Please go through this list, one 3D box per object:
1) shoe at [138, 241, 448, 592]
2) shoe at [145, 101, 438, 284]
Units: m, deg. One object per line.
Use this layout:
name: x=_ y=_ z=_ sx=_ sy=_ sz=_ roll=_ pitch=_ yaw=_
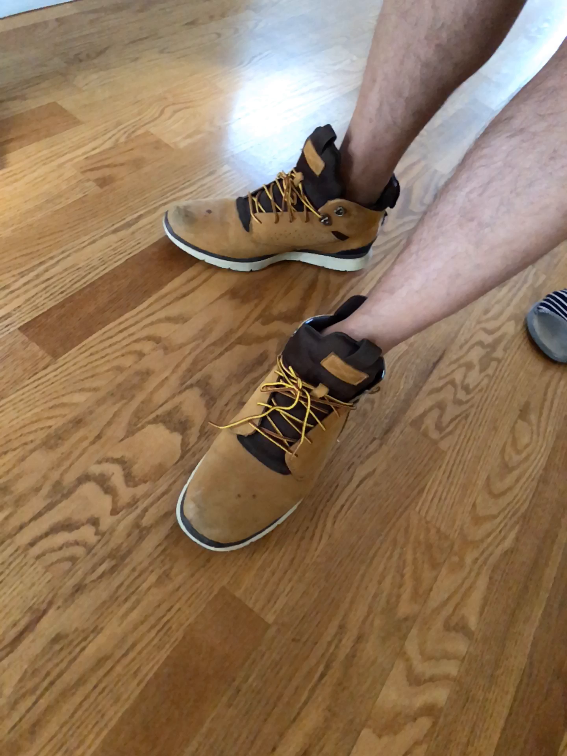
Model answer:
shoe: x=0.017 y=0.023 z=0.573 sx=0.120 sy=0.139 sz=0.291 roll=36 pitch=50 yaw=6
shoe: x=0.004 y=-0.216 z=0.768 sx=0.311 sy=0.149 sz=0.120 roll=-2 pitch=56 yaw=-24
